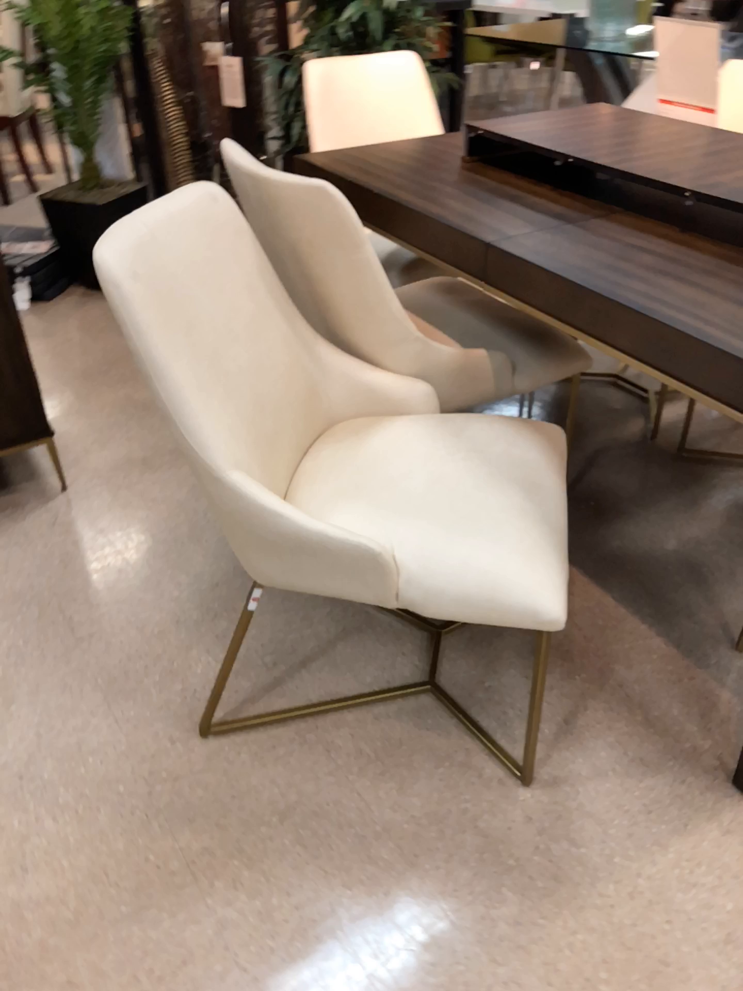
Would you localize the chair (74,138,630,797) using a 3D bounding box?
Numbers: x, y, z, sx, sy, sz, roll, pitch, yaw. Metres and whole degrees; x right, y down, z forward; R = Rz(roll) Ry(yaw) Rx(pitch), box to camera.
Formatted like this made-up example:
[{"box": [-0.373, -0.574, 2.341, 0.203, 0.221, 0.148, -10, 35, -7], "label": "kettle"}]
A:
[{"box": [0.023, -0.056, 1.385, 0.640, 0.904, 0.543, 7, 35, 11], "label": "chair"}]
